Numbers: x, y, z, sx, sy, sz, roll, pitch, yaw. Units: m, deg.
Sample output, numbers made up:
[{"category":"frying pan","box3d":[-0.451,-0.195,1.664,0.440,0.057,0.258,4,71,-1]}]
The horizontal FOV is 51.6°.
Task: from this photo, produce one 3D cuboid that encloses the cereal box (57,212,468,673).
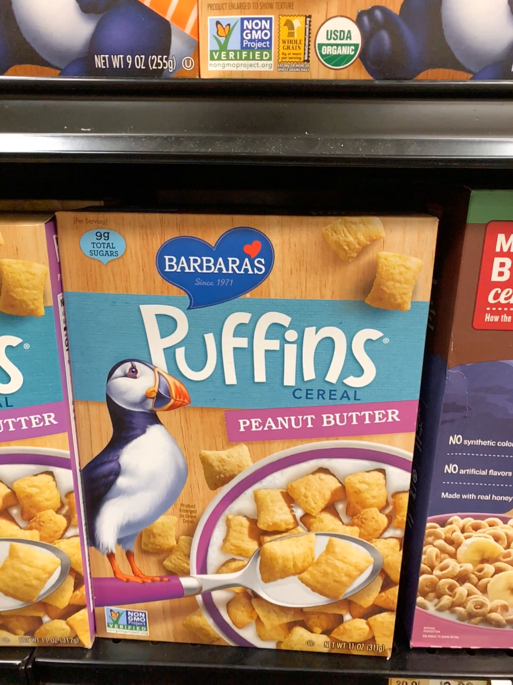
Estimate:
[{"category":"cereal box","box3d":[0.000,0.057,0.322,0.200,0.259,0.070,2,14,3]}]
